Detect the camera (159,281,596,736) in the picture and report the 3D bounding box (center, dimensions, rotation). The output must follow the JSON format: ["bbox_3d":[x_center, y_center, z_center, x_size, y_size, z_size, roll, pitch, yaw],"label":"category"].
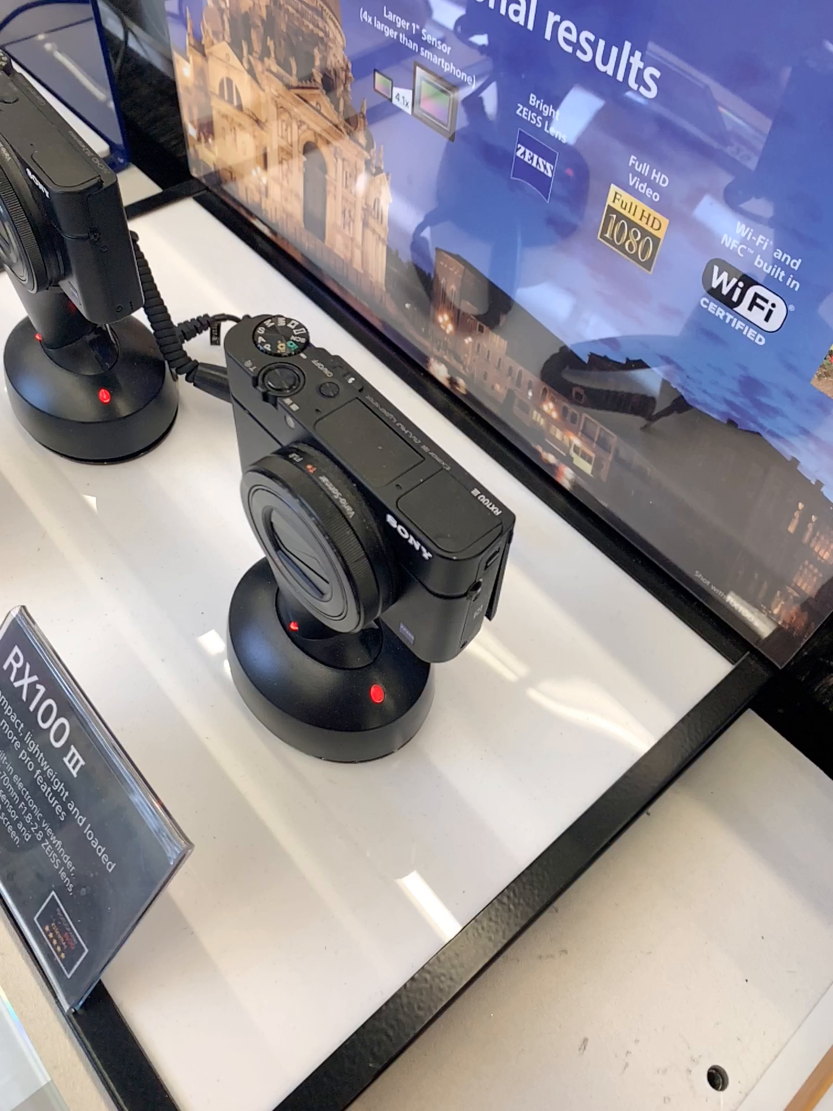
[{"bbox_3d":[-0.014,-0.015,0.243,0.050,0.060,0.110,-37,65,-26],"label":"camera"}]
